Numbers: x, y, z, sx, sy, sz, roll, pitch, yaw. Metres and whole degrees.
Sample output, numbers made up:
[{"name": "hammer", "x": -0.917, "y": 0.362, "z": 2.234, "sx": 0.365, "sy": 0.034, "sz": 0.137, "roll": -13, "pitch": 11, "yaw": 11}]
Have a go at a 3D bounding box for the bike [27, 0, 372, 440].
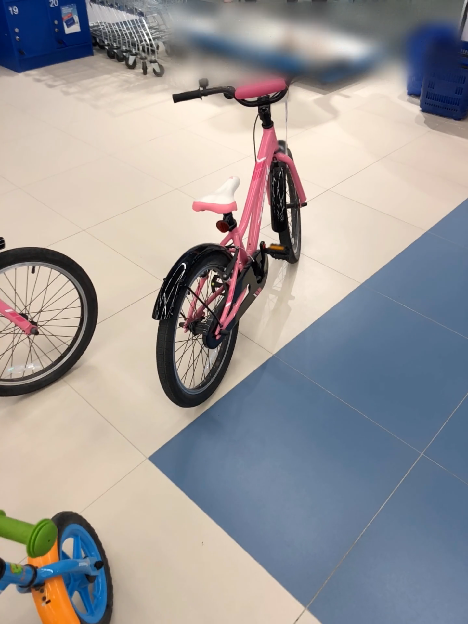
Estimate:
[{"name": "bike", "x": 0.013, "y": -0.437, "z": 1.766, "sx": 0.556, "sy": 0.834, "sz": 1.303, "roll": 14, "pitch": 45, "yaw": 14}]
